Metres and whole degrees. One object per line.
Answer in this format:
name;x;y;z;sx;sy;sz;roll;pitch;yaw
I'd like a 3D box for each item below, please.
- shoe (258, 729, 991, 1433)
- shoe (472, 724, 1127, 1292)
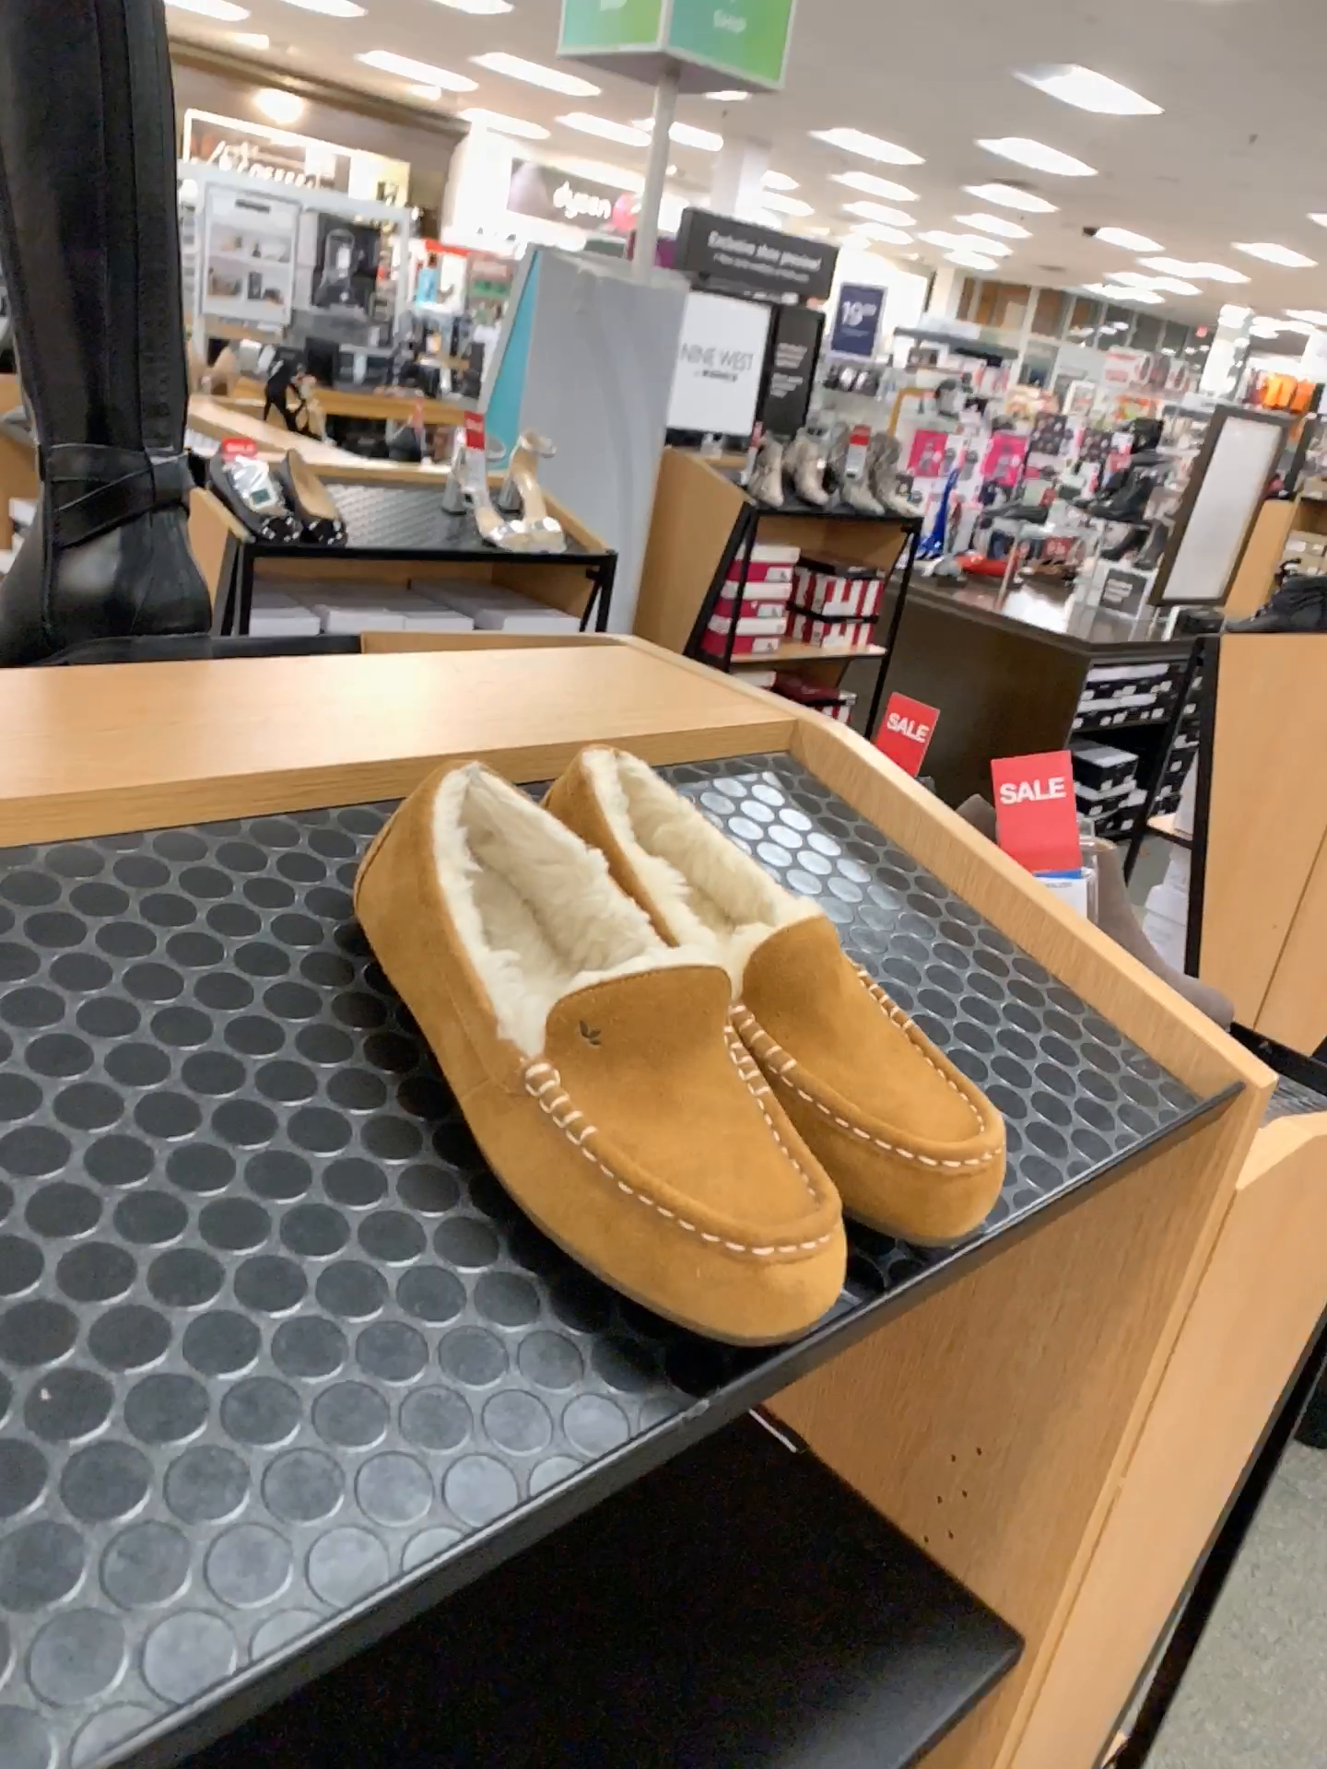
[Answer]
shoe;-0.029;0.043;0.459;0.090;0.060;0.271;-11;42;-43
shoe;0.039;0.029;0.517;0.090;0.060;0.251;-11;42;-43
